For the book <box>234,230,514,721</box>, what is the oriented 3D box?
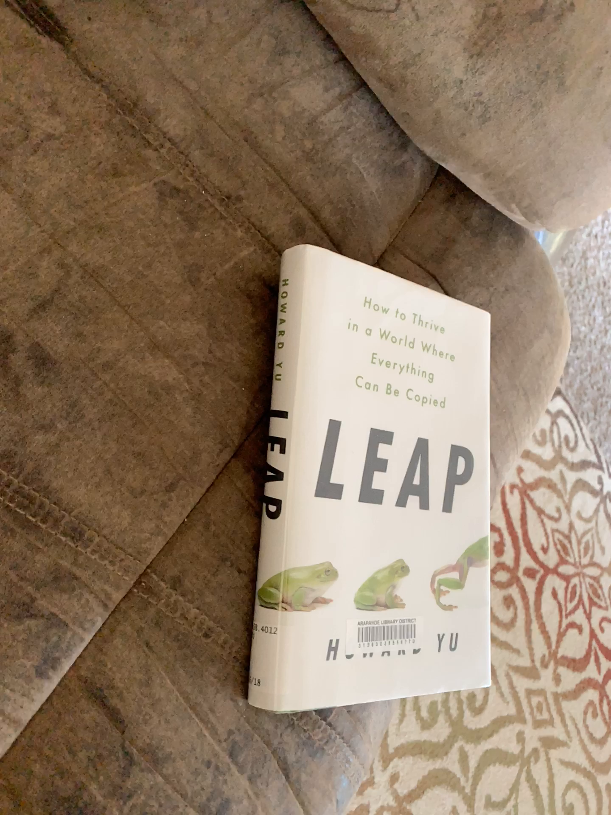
[{"bbox_3d":[0.046,0.037,0.361,0.161,0.040,0.235,10,75,-33],"label":"book"}]
